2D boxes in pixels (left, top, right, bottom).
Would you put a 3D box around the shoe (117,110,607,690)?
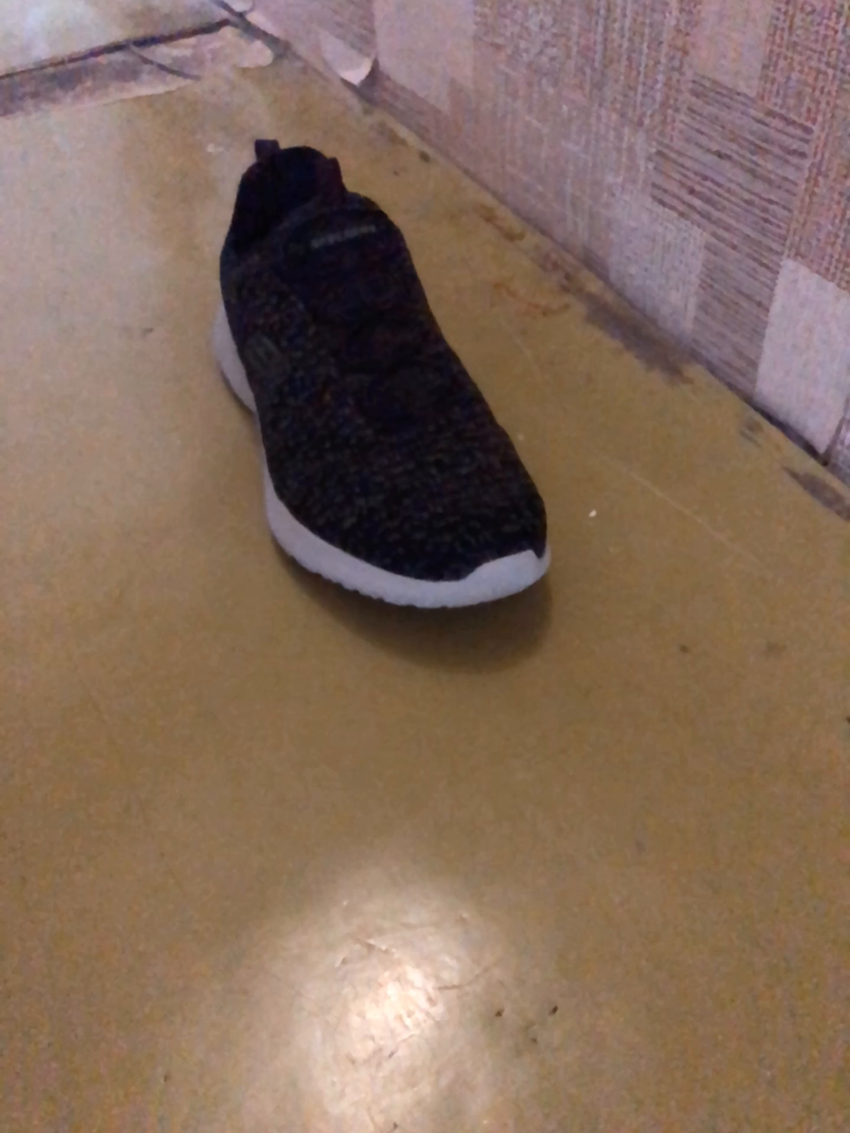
[{"bbox_3d":[-0.051,-0.111,0.501,0.120,0.129,0.321,-20,48,-17],"label":"shoe"}]
